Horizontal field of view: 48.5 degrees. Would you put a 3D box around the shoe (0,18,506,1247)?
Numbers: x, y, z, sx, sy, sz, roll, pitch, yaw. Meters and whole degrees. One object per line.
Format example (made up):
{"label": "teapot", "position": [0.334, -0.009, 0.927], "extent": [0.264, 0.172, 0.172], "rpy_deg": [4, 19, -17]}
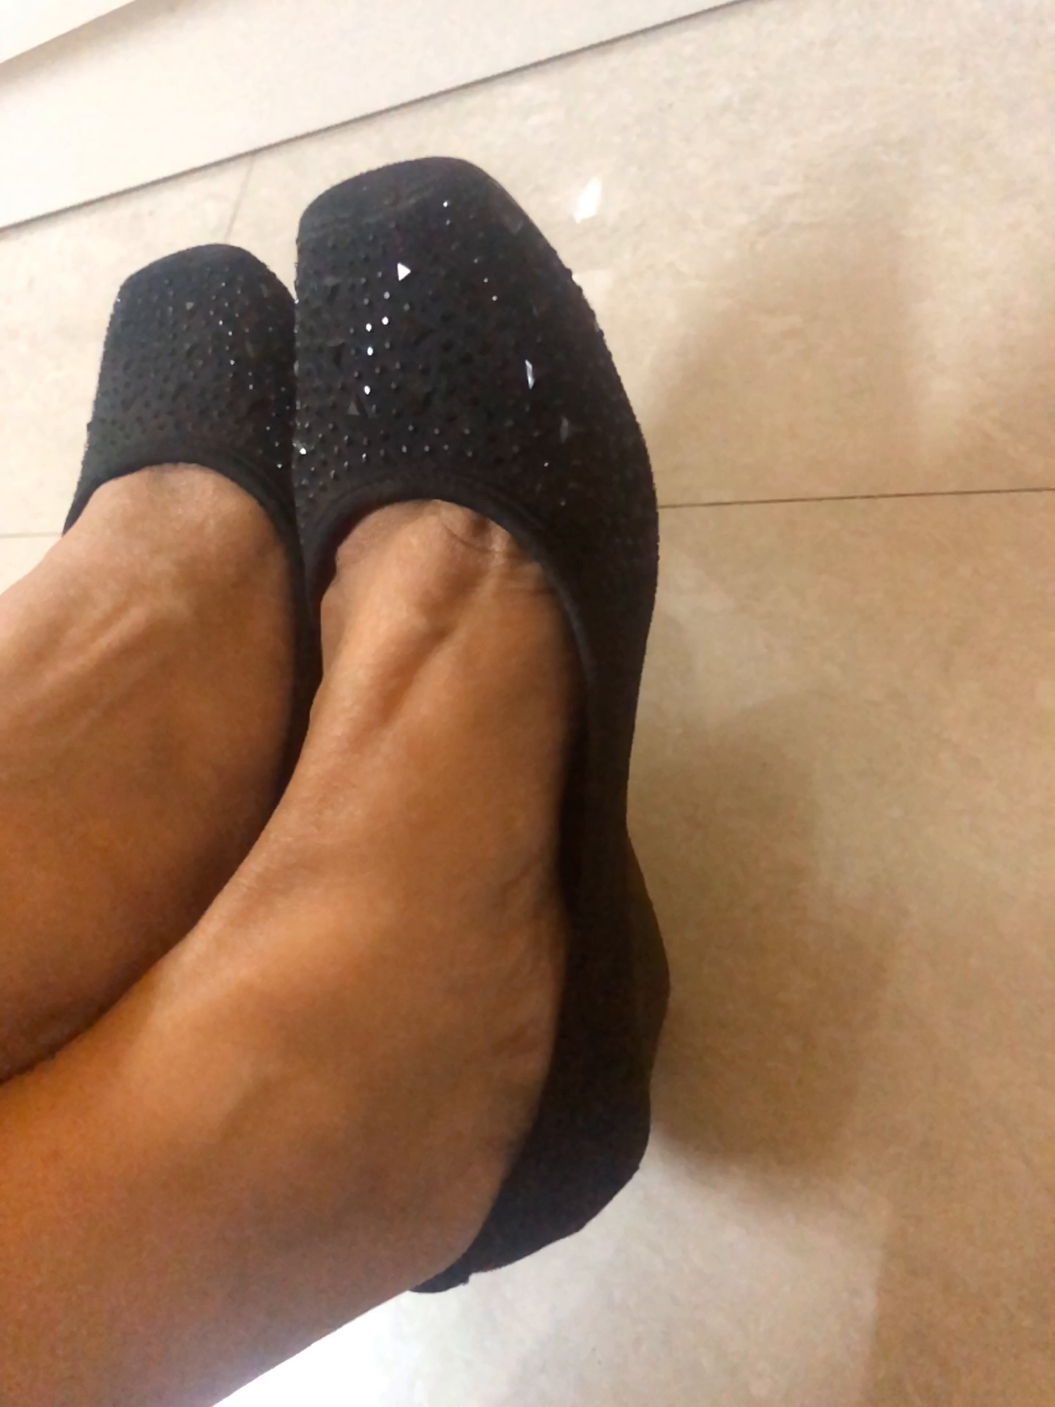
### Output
{"label": "shoe", "position": [-0.082, -0.012, 0.308], "extent": [0.100, 0.070, 0.270], "rpy_deg": [-6, 92, 24]}

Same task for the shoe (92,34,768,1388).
{"label": "shoe", "position": [-0.014, 0.005, 0.257], "extent": [0.100, 0.070, 0.240], "rpy_deg": [3, 105, 35]}
